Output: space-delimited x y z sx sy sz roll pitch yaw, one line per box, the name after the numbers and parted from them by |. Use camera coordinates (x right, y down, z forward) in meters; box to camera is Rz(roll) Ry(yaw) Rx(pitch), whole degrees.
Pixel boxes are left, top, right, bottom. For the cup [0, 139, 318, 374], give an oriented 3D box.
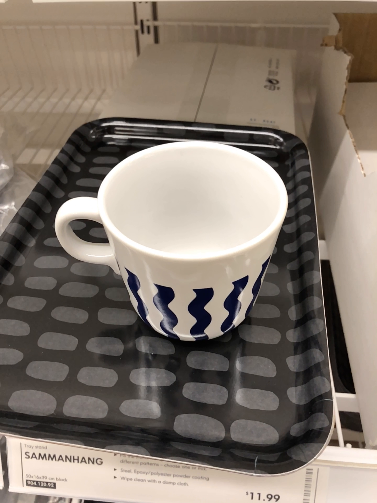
-0.010 0.000 0.217 0.120 0.080 0.090 0 42 2 | cup
